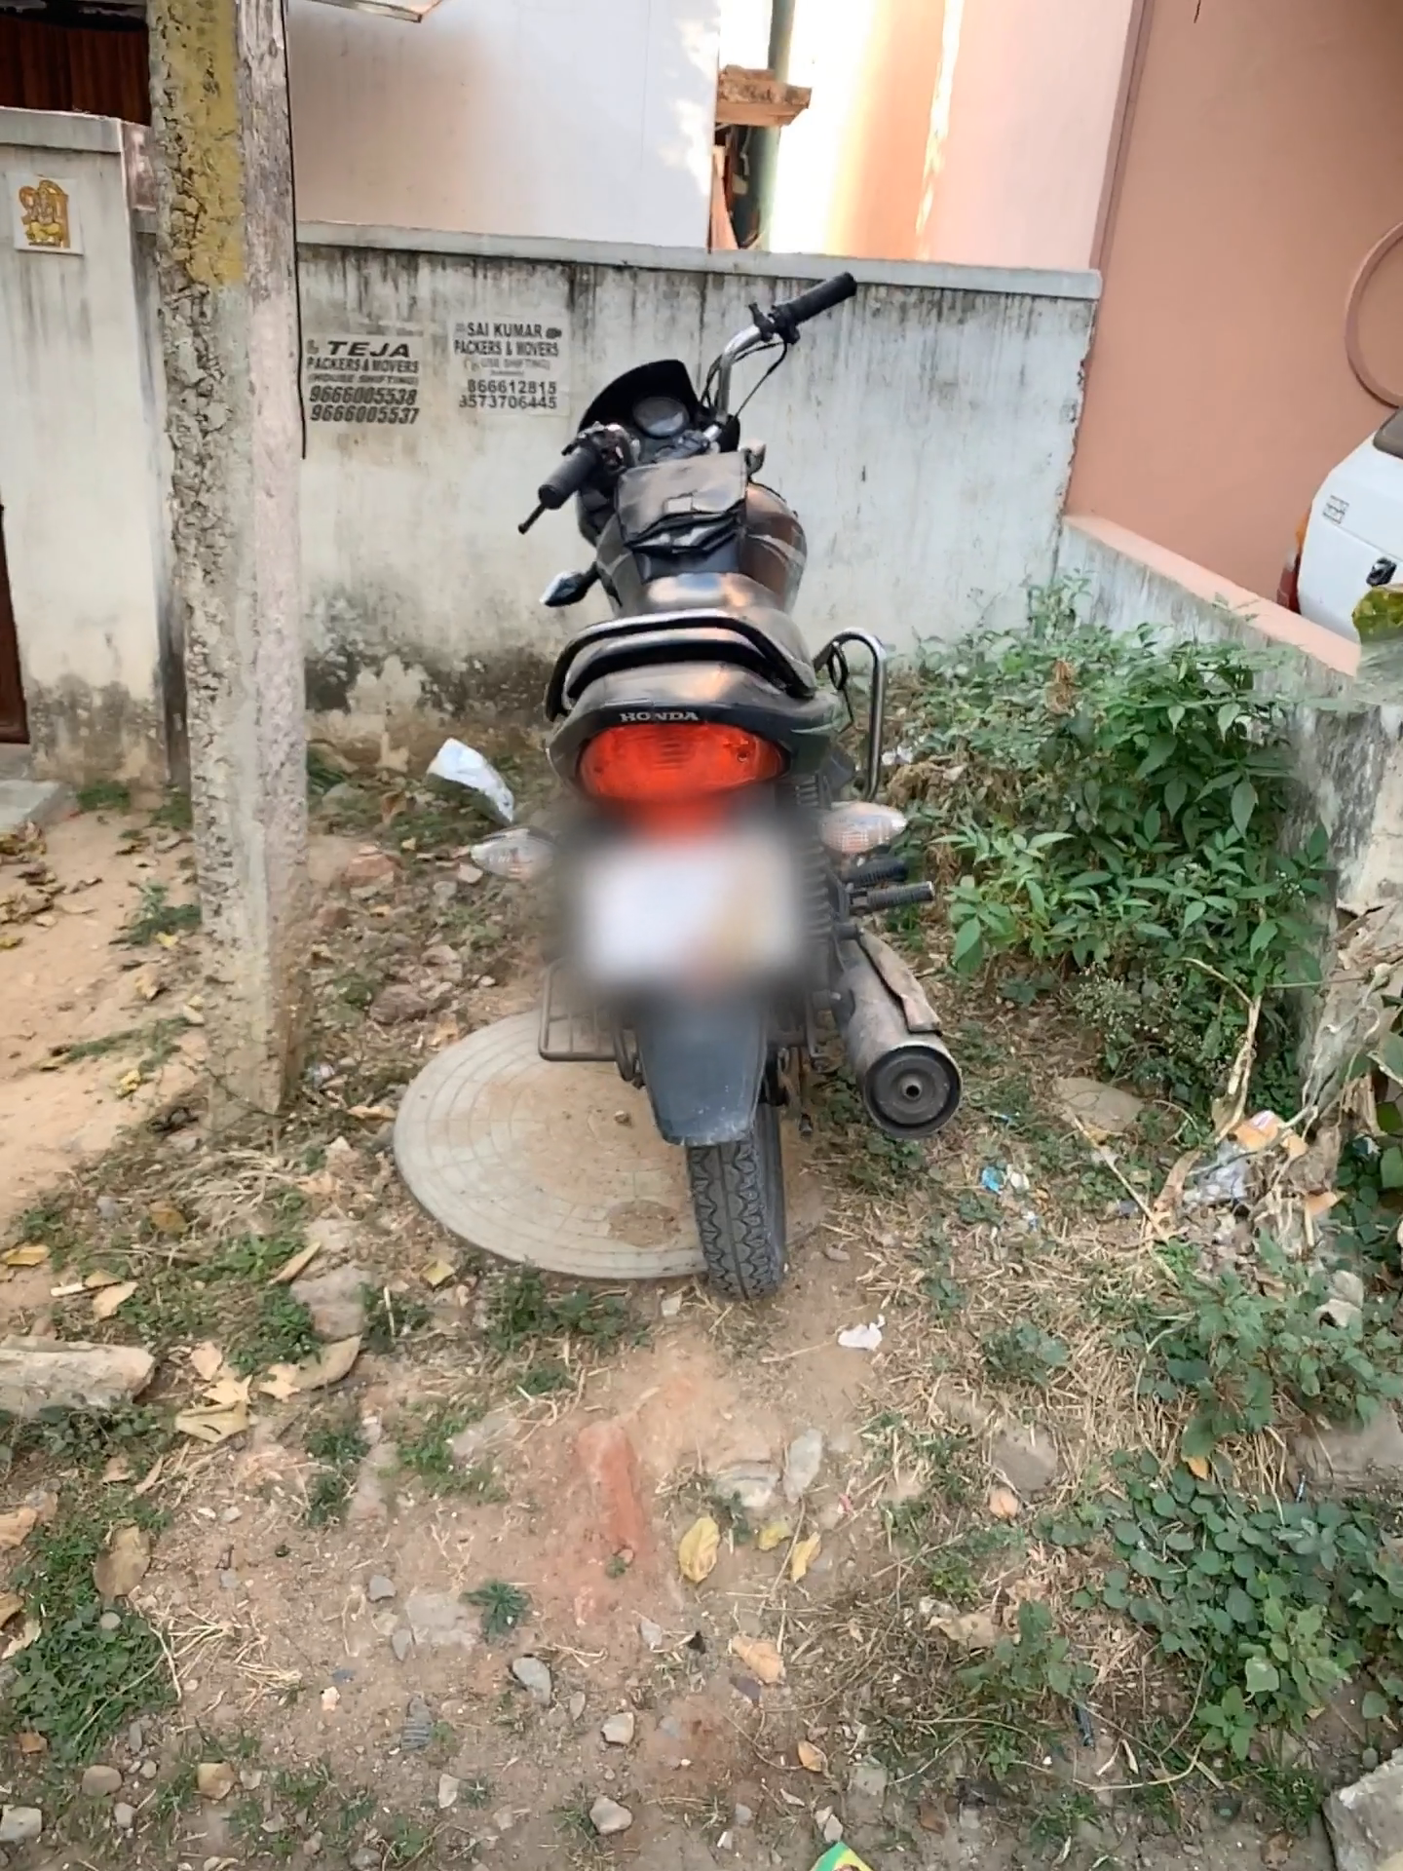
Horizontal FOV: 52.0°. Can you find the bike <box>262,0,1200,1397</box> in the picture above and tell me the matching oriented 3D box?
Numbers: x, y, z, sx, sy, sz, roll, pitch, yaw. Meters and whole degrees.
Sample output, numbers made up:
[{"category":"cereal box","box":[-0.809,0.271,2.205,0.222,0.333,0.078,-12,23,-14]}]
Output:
[{"category":"bike","box":[-0.025,-0.418,1.821,0.734,1.100,1.248,3,34,-5]}]
